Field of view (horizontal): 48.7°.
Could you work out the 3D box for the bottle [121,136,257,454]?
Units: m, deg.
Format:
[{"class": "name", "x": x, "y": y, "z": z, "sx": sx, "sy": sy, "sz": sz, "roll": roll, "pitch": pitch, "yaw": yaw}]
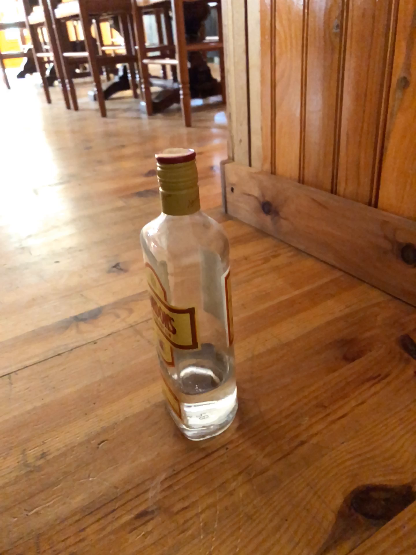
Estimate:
[{"class": "bottle", "x": -0.011, "y": 0.018, "z": 0.378, "sx": 0.060, "sy": 0.239, "sz": 0.090, "roll": -15, "pitch": 30, "yaw": -19}]
